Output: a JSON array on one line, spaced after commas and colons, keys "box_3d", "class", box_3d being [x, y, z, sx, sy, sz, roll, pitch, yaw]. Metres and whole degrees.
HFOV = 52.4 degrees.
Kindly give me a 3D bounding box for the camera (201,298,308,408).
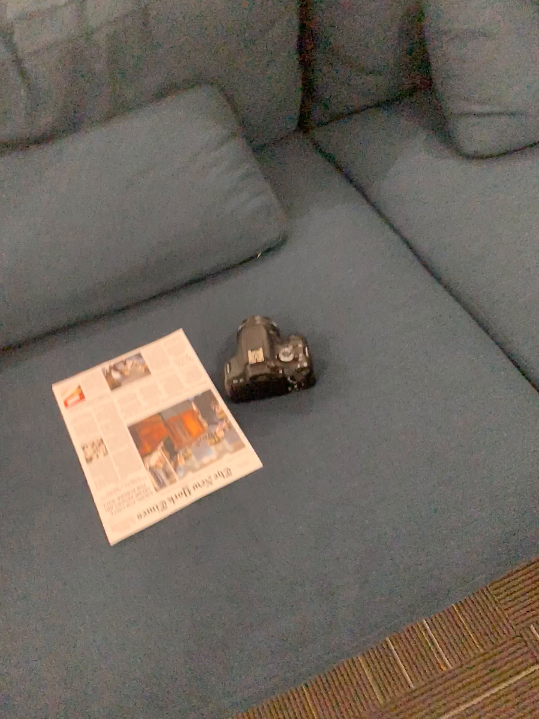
[{"box_3d": [-0.024, -0.009, 0.867, 0.140, 0.100, 0.110, -12, 54, 1], "class": "camera"}]
